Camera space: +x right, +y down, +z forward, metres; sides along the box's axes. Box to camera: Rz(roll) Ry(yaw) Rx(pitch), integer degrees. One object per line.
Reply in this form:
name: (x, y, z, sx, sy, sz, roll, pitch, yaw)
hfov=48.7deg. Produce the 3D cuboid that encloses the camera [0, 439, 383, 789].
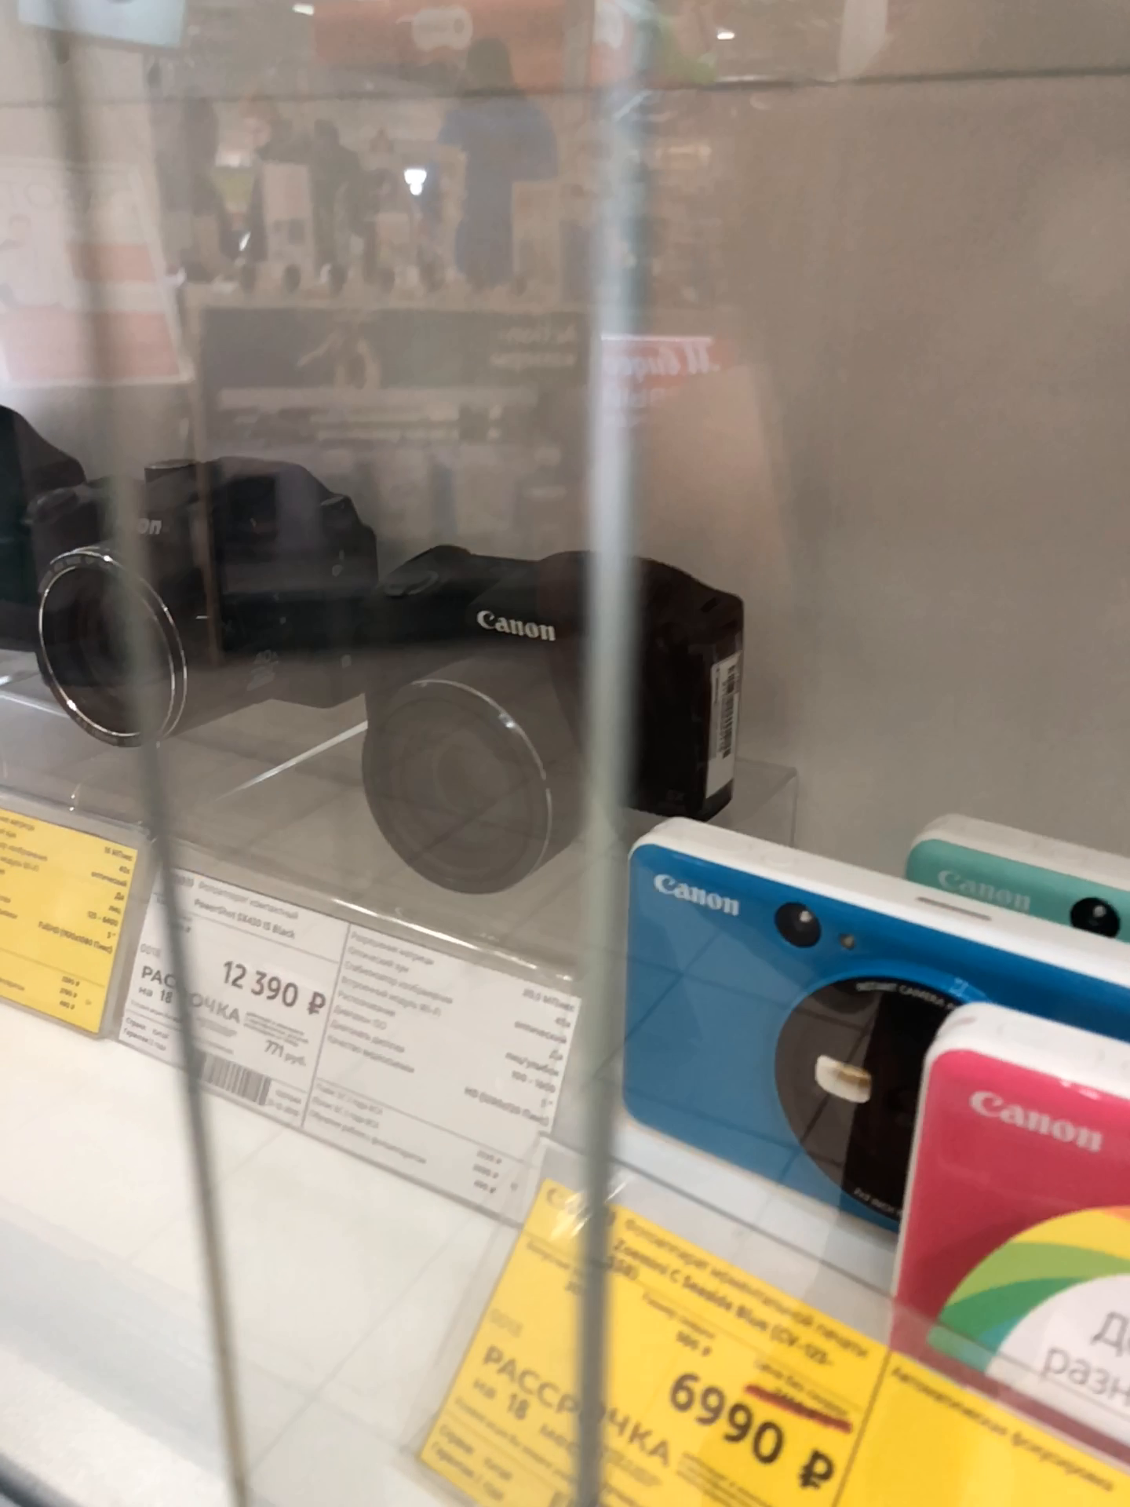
camera: (-0.127, -0.050, 0.387, 0.100, 0.073, 0.093, 14, 26, 29)

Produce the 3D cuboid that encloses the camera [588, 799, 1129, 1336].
camera: (0.063, 0.062, 0.271, 0.118, 0.073, 0.028, 15, 26, 31)

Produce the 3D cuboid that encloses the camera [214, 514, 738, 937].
camera: (-0.021, -0.016, 0.335, 0.100, 0.070, 0.093, 14, 26, 29)

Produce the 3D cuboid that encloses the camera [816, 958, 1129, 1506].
camera: (0.104, 0.089, 0.201, 0.118, 0.073, 0.028, 15, 26, 31)
